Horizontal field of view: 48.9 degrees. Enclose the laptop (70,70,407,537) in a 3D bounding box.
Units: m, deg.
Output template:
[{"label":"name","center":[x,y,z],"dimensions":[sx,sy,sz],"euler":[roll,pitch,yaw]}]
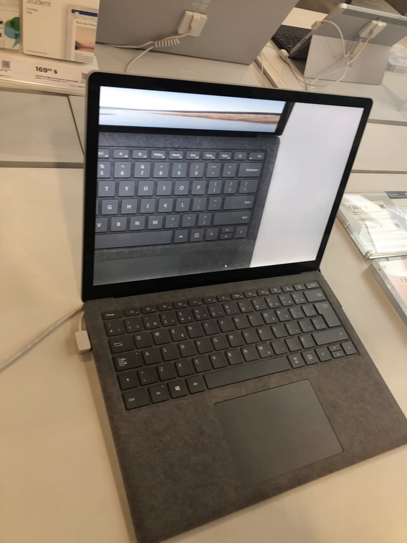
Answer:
[{"label":"laptop","center":[0.066,0.009,0.410],"dimensions":[0.297,0.197,0.295],"euler":[-6,55,-27]}]
